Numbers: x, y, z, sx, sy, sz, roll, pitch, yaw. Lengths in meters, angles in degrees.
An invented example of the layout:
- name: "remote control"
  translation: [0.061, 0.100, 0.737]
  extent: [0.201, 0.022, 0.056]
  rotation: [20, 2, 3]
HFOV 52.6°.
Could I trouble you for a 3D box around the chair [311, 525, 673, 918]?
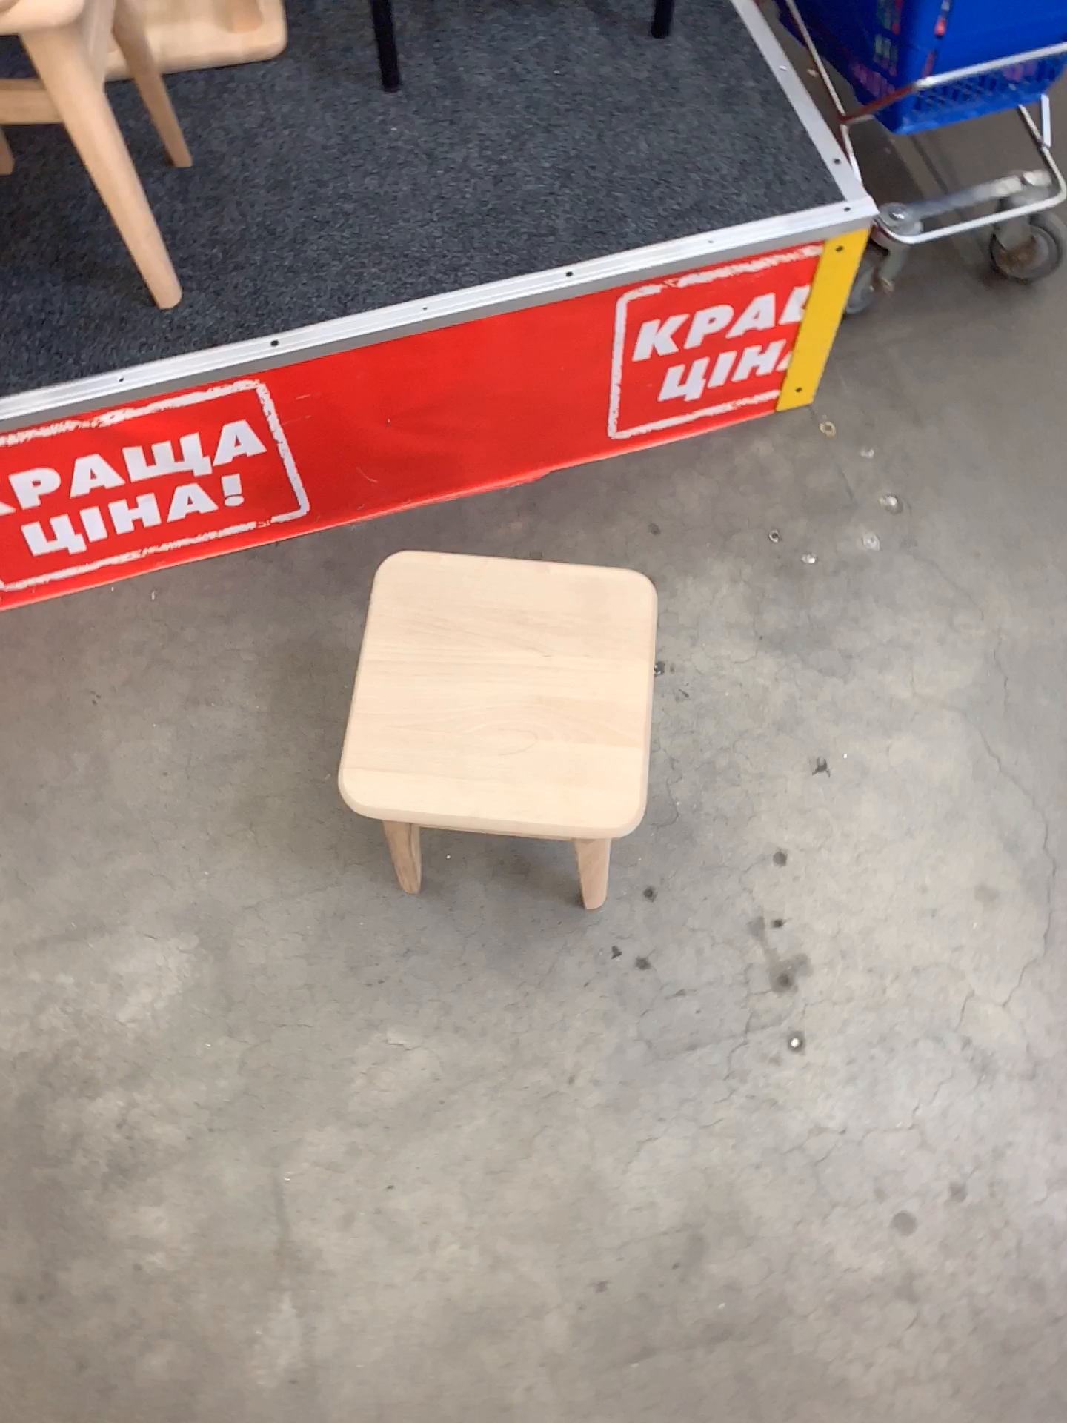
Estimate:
- name: "chair"
  translation: [-0.025, 0.020, 0.977]
  extent: [0.260, 0.260, 0.250]
  rotation: [5, 66, 3]
